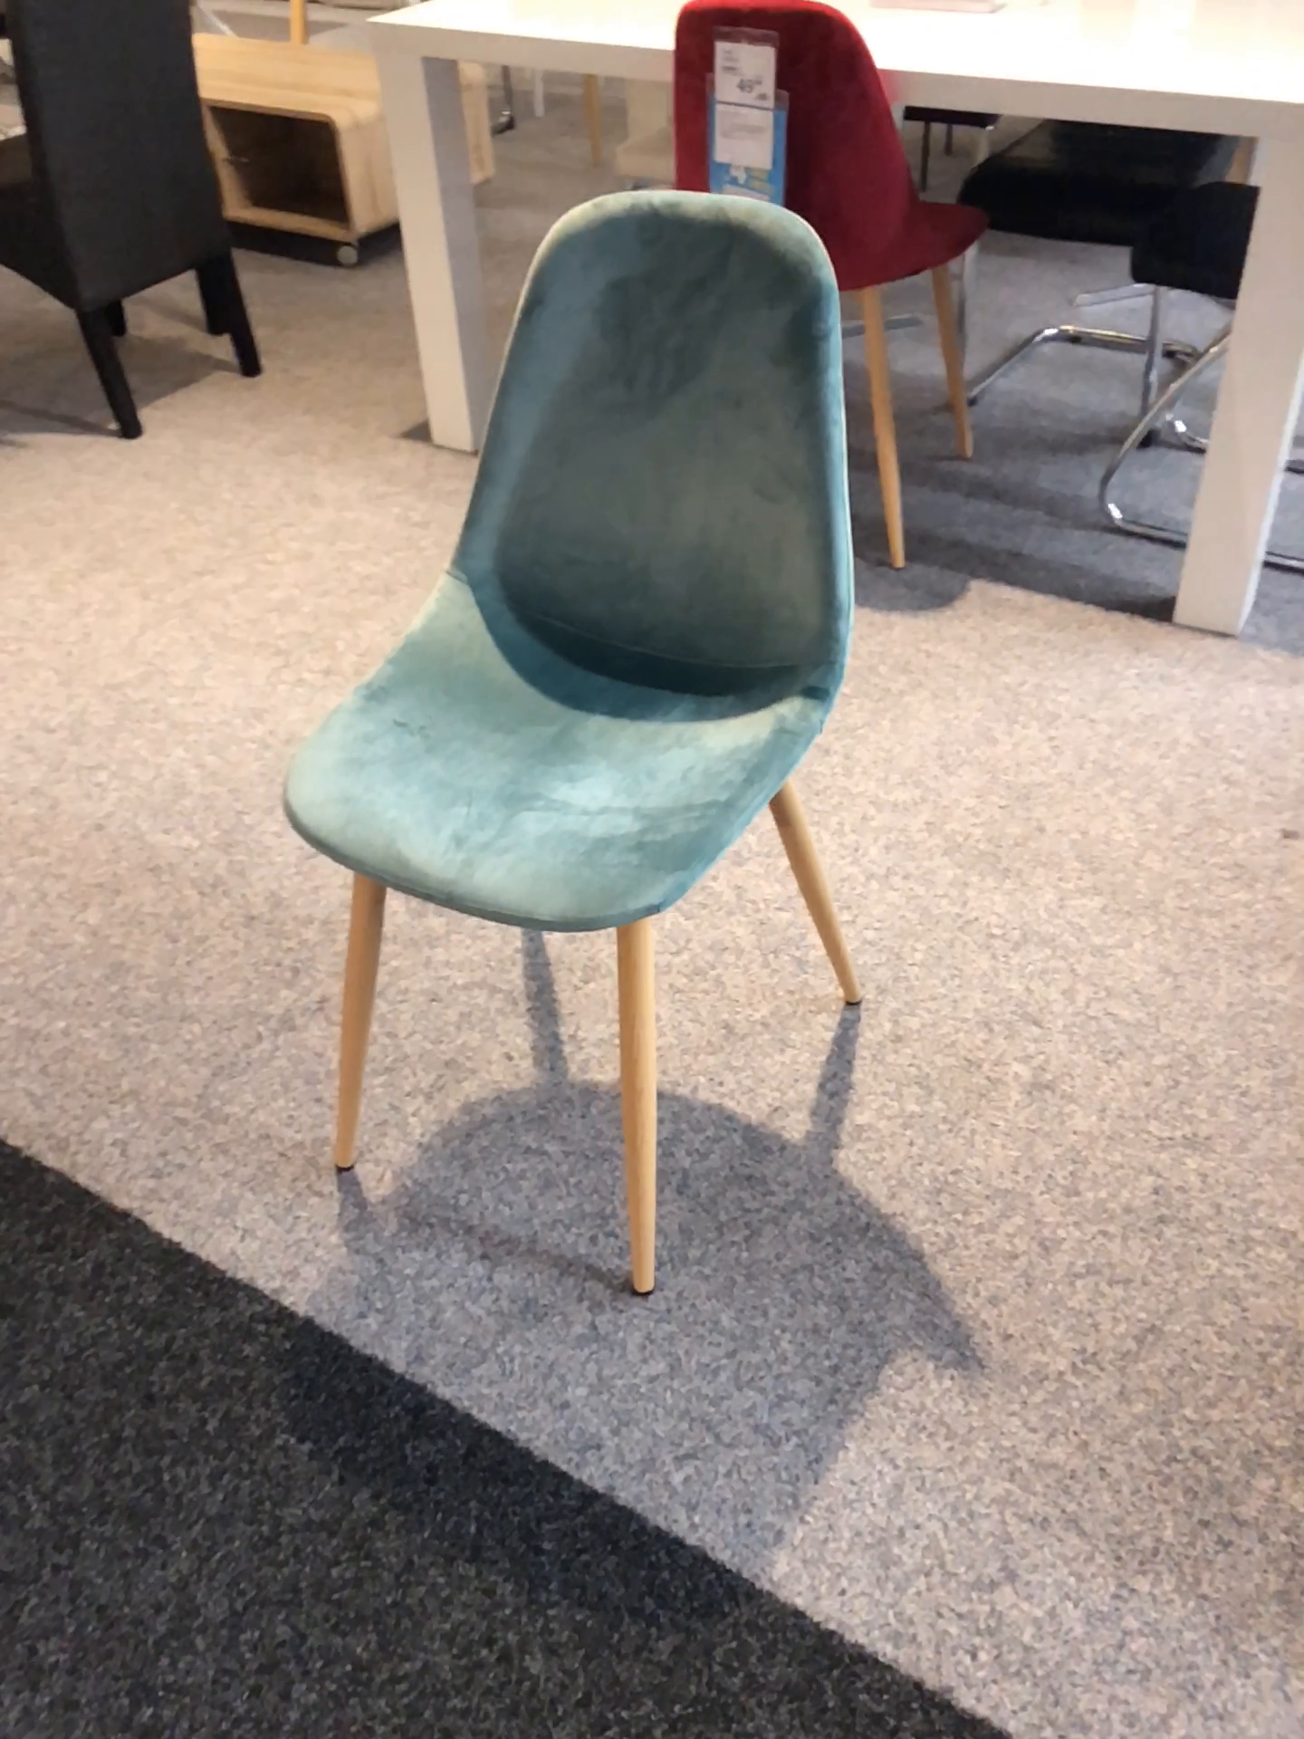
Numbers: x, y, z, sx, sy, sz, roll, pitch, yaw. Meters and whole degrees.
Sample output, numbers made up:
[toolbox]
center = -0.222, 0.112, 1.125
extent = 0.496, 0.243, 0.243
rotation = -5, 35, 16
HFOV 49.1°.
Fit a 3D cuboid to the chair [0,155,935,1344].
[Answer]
[chair]
center = -0.088, -0.116, 1.306
extent = 0.470, 0.835, 0.554
rotation = 16, 43, 22
